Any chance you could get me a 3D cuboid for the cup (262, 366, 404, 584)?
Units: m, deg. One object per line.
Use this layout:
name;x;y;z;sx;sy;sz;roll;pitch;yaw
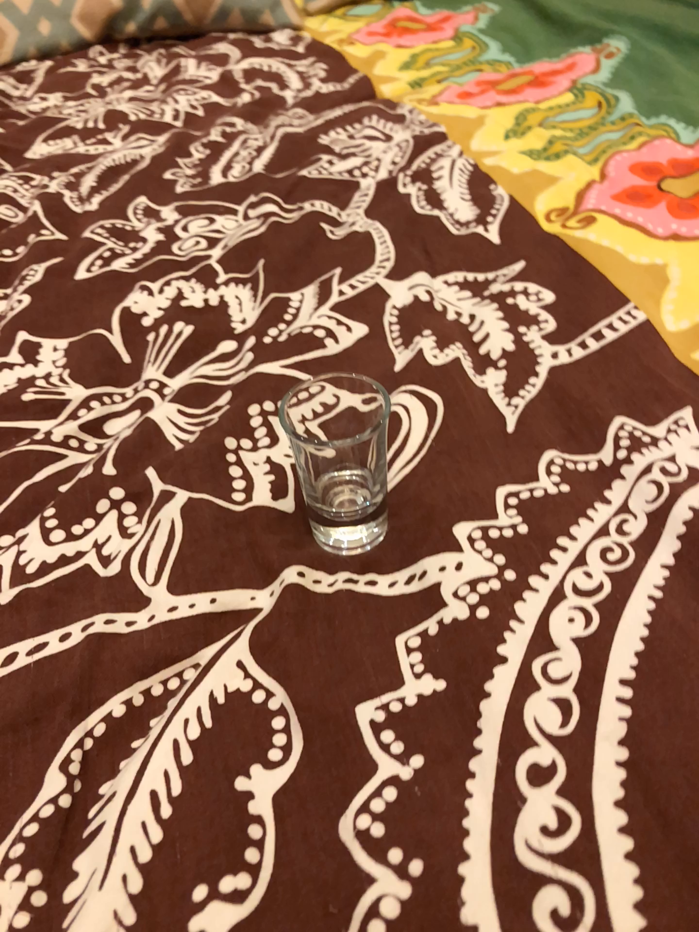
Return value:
cup;-0.004;0.004;0.311;0.042;0.069;0.045;-1;43;1
